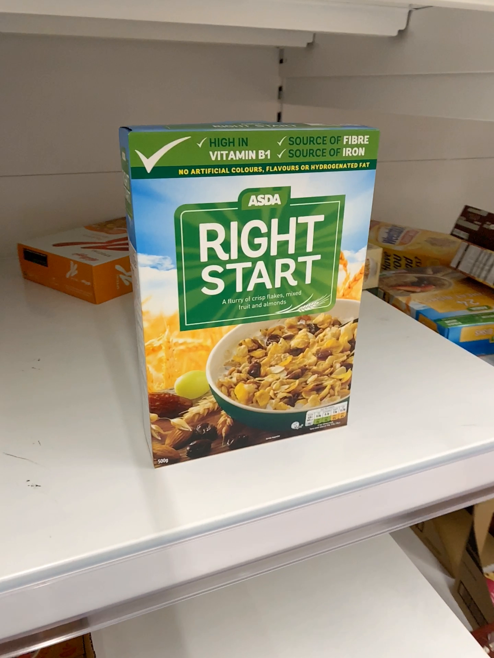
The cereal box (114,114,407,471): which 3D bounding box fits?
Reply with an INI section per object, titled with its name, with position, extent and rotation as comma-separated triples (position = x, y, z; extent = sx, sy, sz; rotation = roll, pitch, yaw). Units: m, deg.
[cereal box]
position = 0.008, -0.032, 0.425
extent = 0.200, 0.268, 0.070
rotation = -8, 27, -19
